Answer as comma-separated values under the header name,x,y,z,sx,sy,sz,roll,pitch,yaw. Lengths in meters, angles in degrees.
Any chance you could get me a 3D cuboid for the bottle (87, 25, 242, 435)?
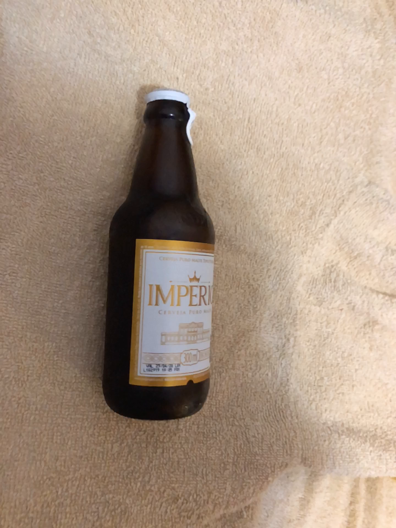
name,x,y,z,sx,sy,sz,roll,pitch,yaw
bottle,-0.020,-0.016,0.245,0.060,0.060,0.190,2,88,-31
